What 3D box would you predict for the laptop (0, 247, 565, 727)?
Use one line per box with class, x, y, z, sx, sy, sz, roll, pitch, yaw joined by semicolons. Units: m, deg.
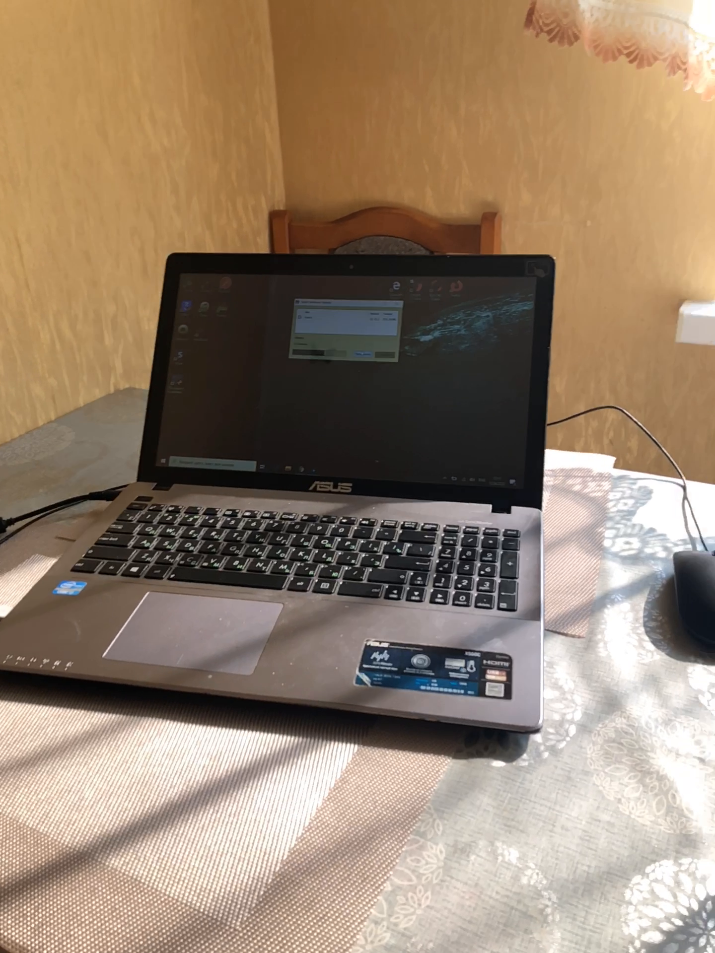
laptop;-0.041;-0.043;0.624;0.378;0.183;0.399;3;29;11
